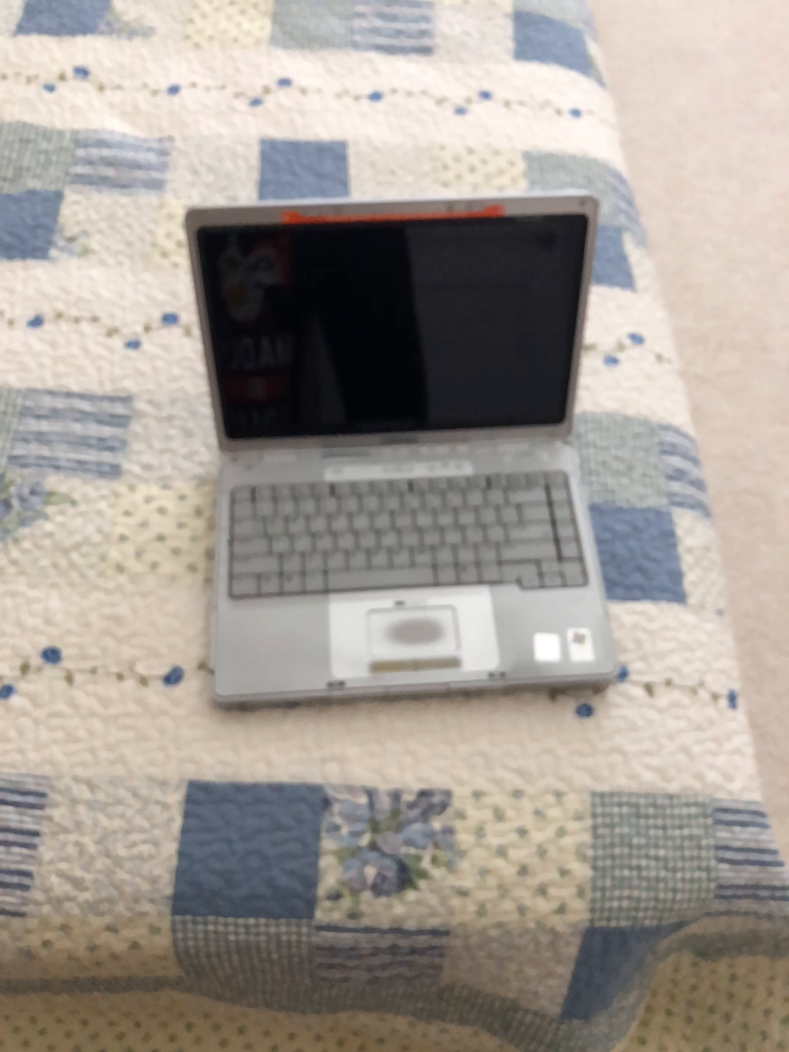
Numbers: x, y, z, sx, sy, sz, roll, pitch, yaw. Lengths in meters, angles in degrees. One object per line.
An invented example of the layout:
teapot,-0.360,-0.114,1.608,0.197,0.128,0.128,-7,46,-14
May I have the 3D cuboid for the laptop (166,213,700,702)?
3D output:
laptop,0.011,-0.056,0.701,0.322,0.193,0.327,-3,60,-3
